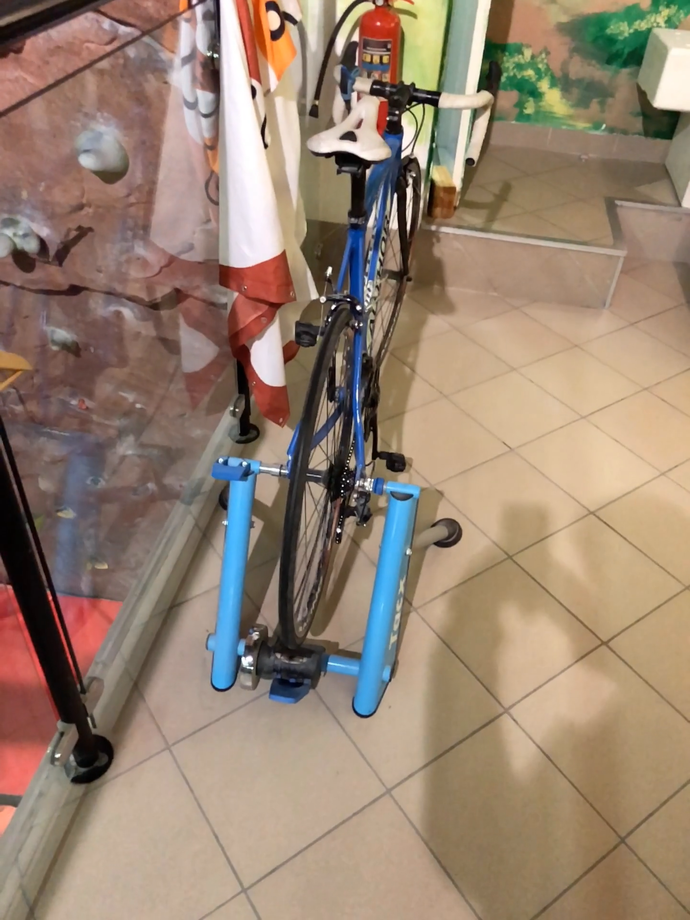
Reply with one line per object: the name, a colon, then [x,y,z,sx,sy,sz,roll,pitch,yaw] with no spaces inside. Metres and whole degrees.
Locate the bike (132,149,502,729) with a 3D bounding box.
bike: [0.073,-0.222,1.849,0.465,0.682,1.561,9,36,7]
